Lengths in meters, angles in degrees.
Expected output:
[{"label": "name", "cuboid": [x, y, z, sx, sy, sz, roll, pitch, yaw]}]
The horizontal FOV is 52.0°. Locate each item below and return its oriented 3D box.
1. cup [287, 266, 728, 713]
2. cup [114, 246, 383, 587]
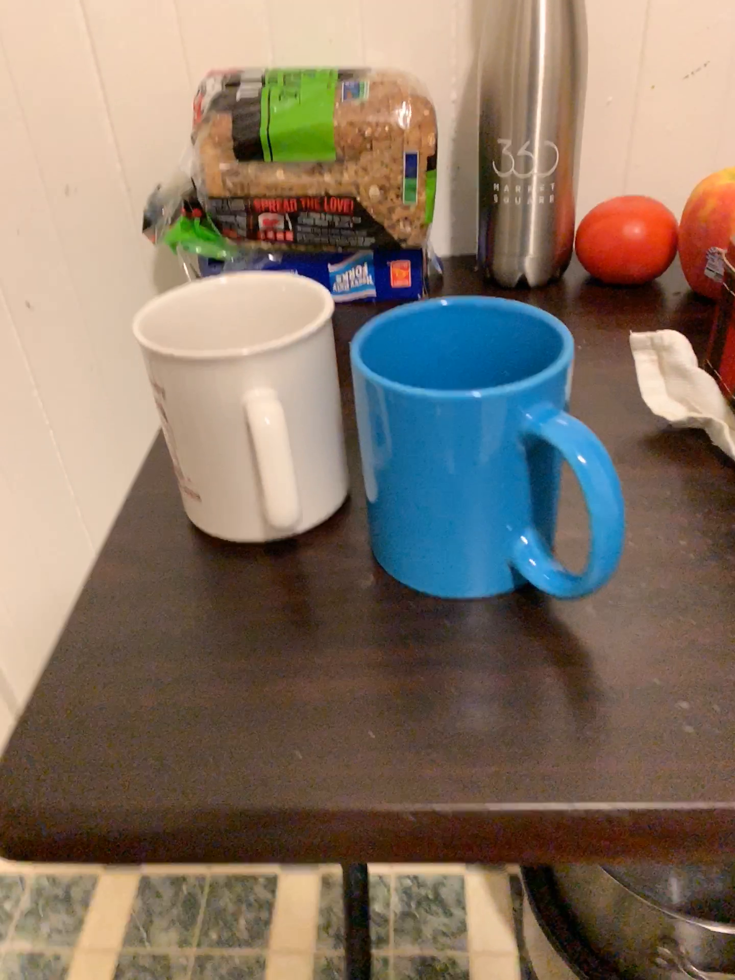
[{"label": "cup", "cuboid": [0.044, -0.011, 0.304, 0.090, 0.099, 0.141, -22, 39, -21]}, {"label": "cup", "cuboid": [-0.056, -0.040, 0.339, 0.090, 0.089, 0.121, -12, 37, -10]}]
